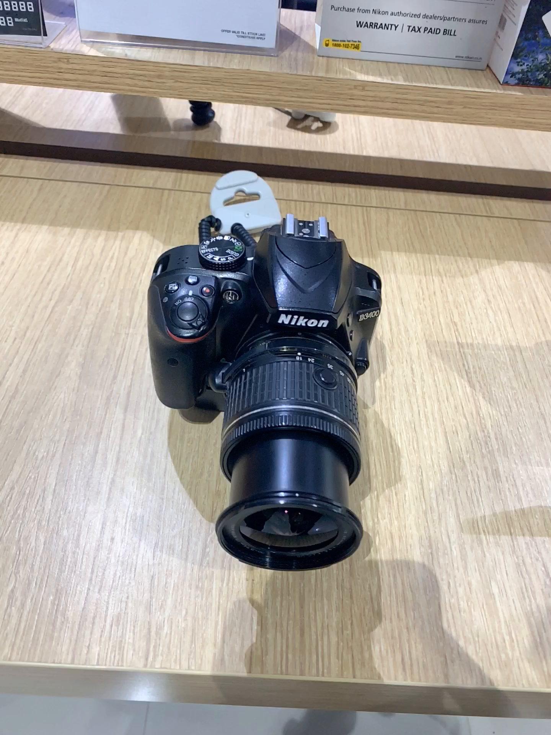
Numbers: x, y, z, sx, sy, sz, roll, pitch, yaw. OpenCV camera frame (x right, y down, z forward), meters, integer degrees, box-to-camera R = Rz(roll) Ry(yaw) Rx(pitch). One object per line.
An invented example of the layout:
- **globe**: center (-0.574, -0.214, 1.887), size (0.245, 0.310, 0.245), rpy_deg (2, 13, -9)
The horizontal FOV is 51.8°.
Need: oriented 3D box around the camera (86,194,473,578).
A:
- **camera**: center (0.000, 0.005, 0.258), size (0.120, 0.094, 0.140), rpy_deg (3, 47, -2)
